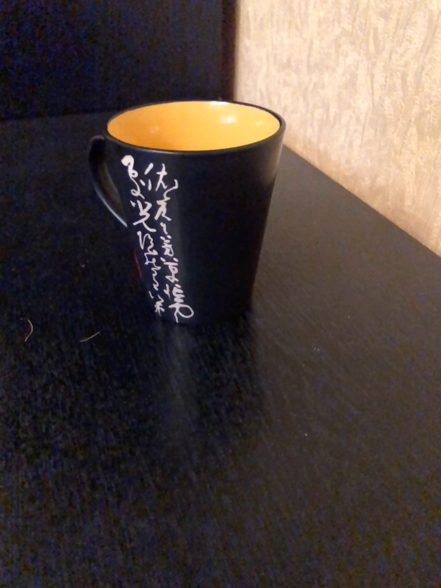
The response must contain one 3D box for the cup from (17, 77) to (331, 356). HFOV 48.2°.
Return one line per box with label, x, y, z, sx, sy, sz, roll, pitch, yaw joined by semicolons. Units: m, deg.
cup;-0.022;-0.052;0.278;0.130;0.099;0.090;20;40;25
